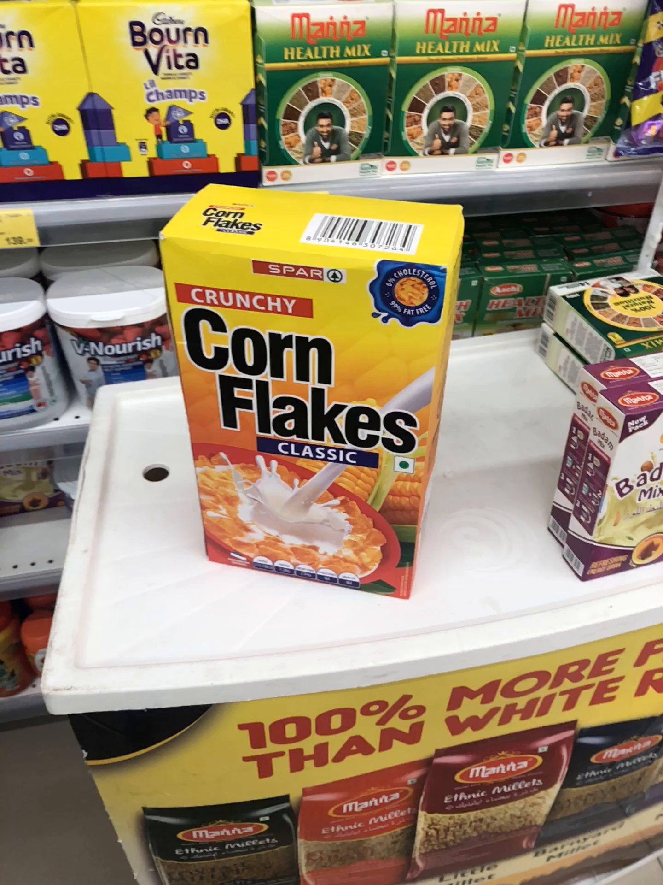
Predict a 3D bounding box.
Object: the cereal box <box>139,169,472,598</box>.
[{"bbox_3d":[-0.014,-0.031,0.582,0.200,0.319,0.090,9,41,11],"label":"cereal box"}]
